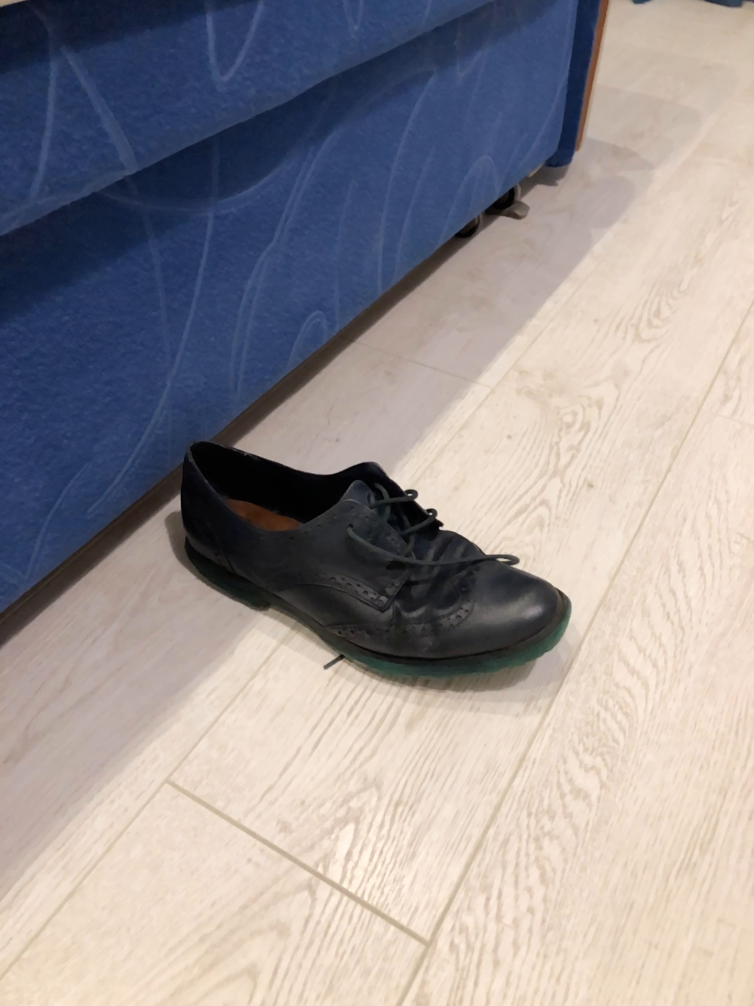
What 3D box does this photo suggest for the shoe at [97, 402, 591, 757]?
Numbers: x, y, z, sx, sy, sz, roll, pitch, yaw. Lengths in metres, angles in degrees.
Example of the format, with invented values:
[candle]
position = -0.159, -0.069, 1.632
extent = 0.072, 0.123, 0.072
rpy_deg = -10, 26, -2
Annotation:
[shoe]
position = -0.020, 0.036, 0.478
extent = 0.250, 0.089, 0.096
rpy_deg = 18, 45, 17
